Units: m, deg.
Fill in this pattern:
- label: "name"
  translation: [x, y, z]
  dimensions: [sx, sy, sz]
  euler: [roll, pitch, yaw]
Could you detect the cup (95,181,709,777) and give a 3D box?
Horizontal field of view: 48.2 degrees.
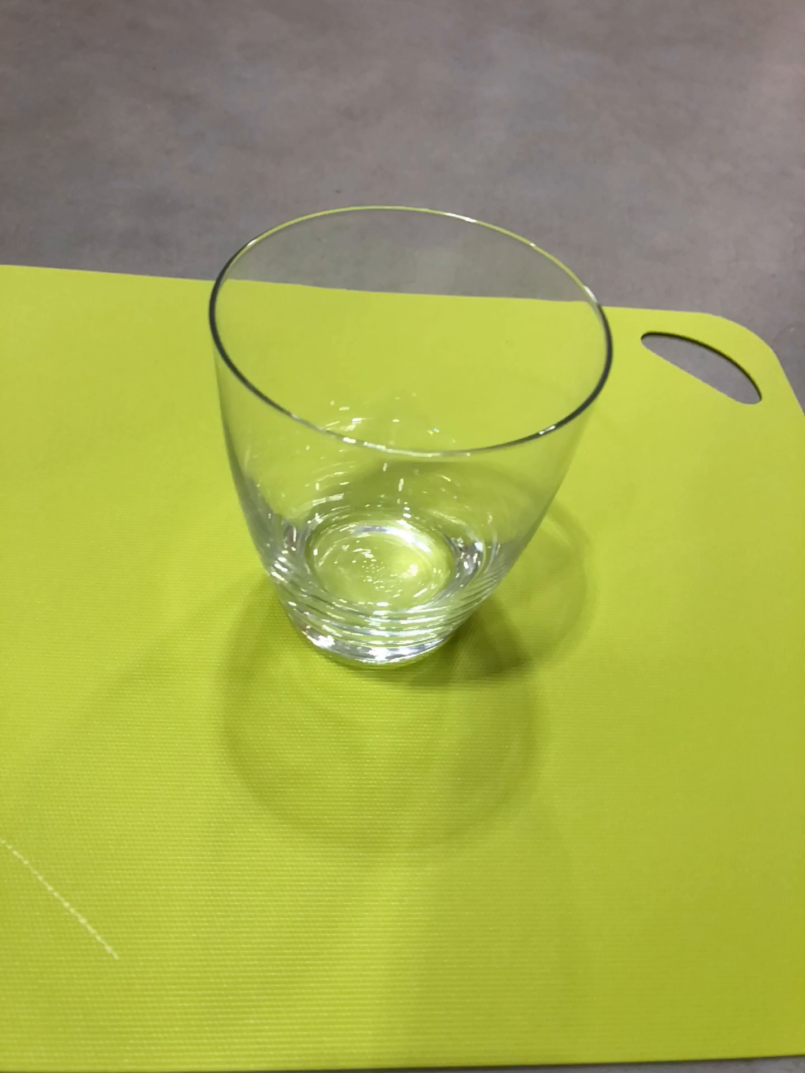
- label: "cup"
  translation: [-0.007, -0.022, 0.252]
  dimensions: [0.110, 0.090, 0.110]
  euler: [4, 49, -4]
